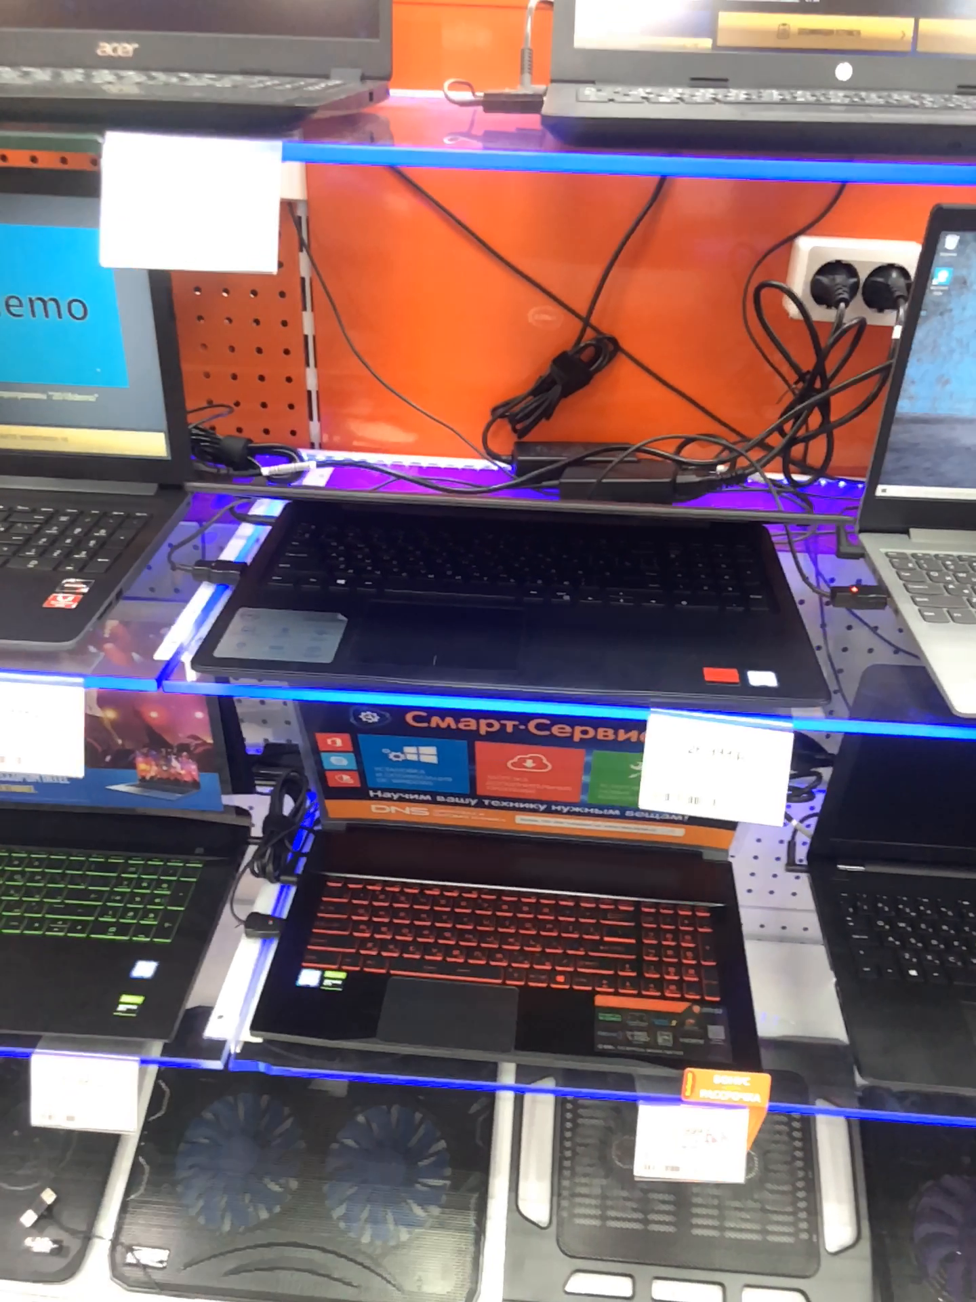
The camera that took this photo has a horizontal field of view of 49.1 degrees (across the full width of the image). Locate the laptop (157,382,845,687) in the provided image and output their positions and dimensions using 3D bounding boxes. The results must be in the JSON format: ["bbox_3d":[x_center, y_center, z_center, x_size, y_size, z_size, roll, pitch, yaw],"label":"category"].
[{"bbox_3d":[0.013,-0.089,0.703,0.371,0.100,0.239,3,30,3],"label":"laptop"}]
